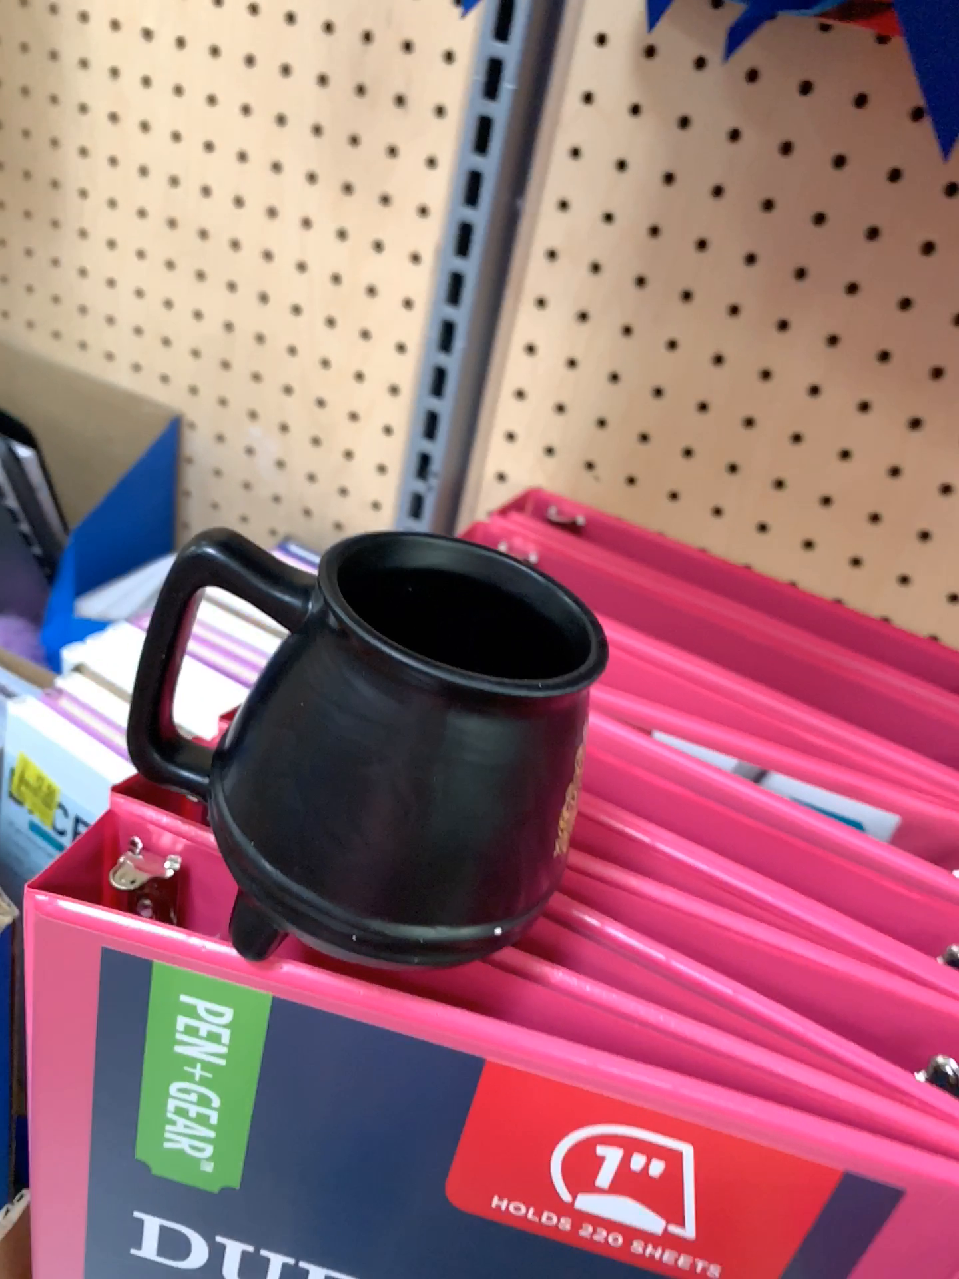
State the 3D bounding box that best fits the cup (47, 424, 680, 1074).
[{"bbox_3d":[-0.024,0.021,0.254,0.122,0.093,0.097,17,30,3],"label":"cup"}]
